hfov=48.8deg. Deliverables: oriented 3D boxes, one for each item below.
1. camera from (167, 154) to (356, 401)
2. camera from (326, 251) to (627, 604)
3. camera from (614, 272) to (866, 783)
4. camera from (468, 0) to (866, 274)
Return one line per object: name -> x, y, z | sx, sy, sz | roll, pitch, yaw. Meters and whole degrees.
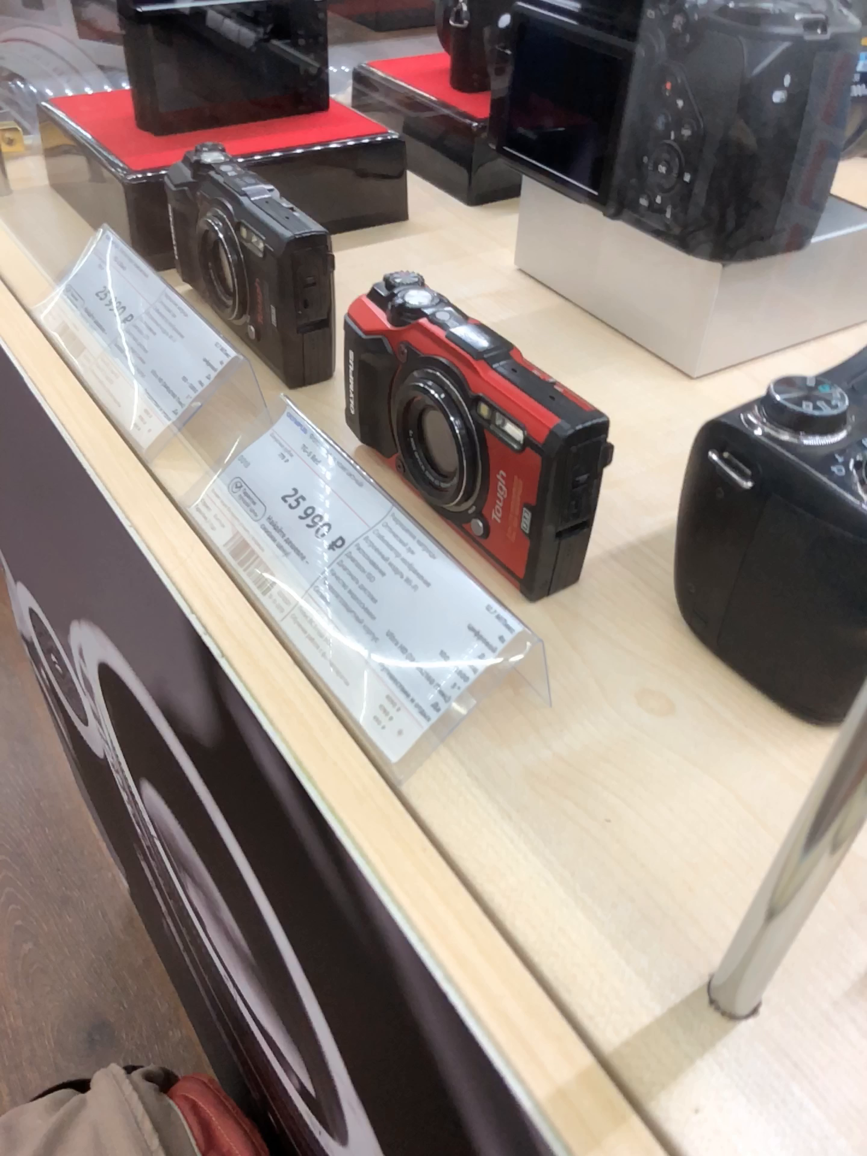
camera -> -0.076, -0.135, 0.419 | 0.030, 0.061, 0.117 | -22, 47, -26
camera -> 0.007, -0.054, 0.315 | 0.030, 0.061, 0.119 | -22, 47, -26
camera -> 0.134, -0.022, 0.276 | 0.117, 0.078, 0.094 | -21, 47, -26
camera -> 0.110, -0.204, 0.387 | 0.127, 0.086, 0.147 | -21, 47, -26
